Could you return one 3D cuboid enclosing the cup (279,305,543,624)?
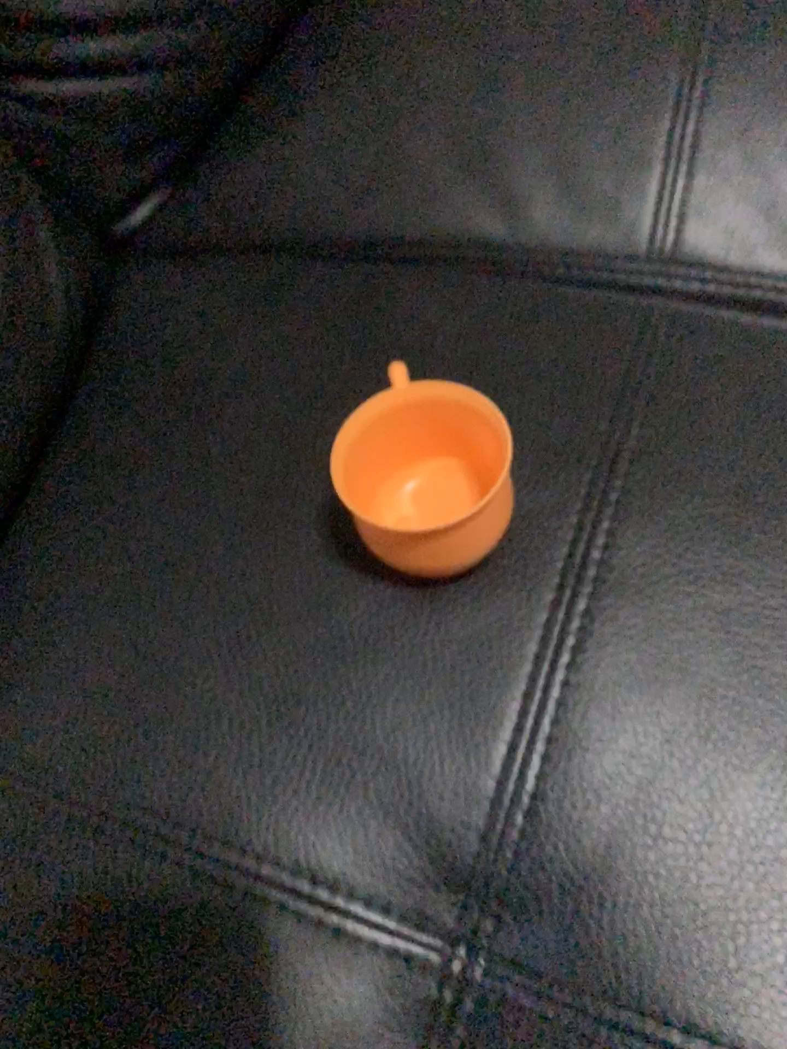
[{"bbox_3d":[0.005,-0.021,0.276,0.063,0.046,0.081,-17,59,-2],"label":"cup"}]
